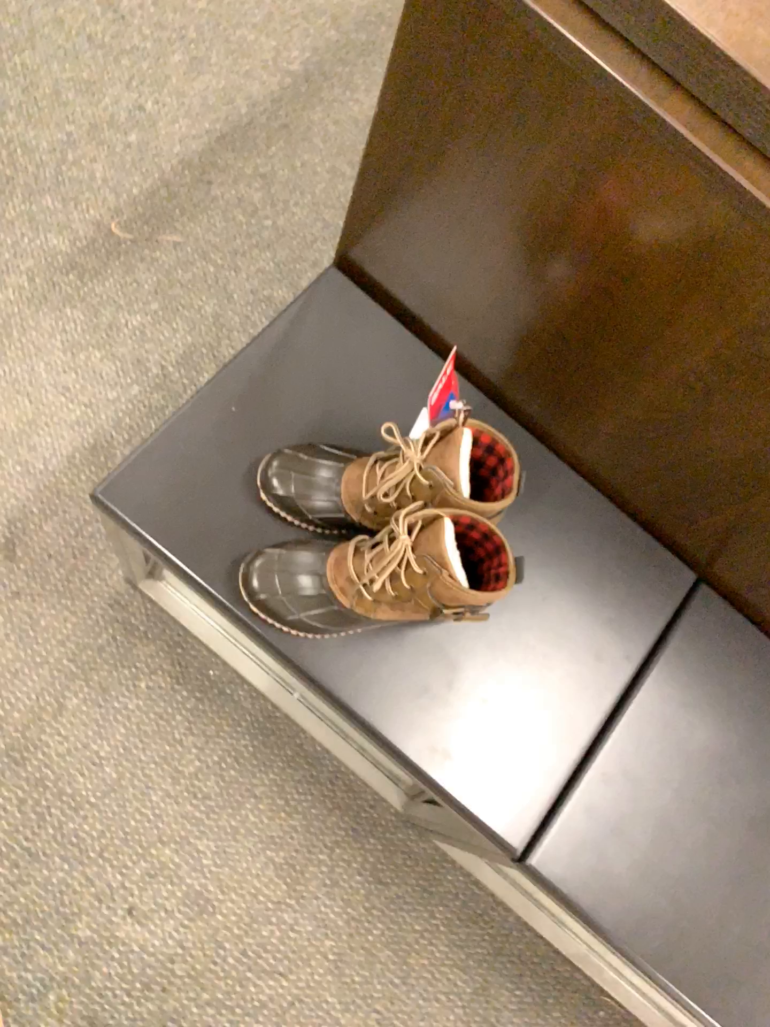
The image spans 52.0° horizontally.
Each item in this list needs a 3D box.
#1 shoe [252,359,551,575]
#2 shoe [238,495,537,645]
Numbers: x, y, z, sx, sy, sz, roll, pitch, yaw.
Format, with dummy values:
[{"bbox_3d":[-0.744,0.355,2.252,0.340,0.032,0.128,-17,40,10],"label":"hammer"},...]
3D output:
[{"bbox_3d":[0.009,-0.034,0.747,0.240,0.150,0.100,15,71,-9],"label":"shoe"},{"bbox_3d":[-0.007,0.059,0.721,0.240,0.150,0.100,3,73,-13],"label":"shoe"}]
